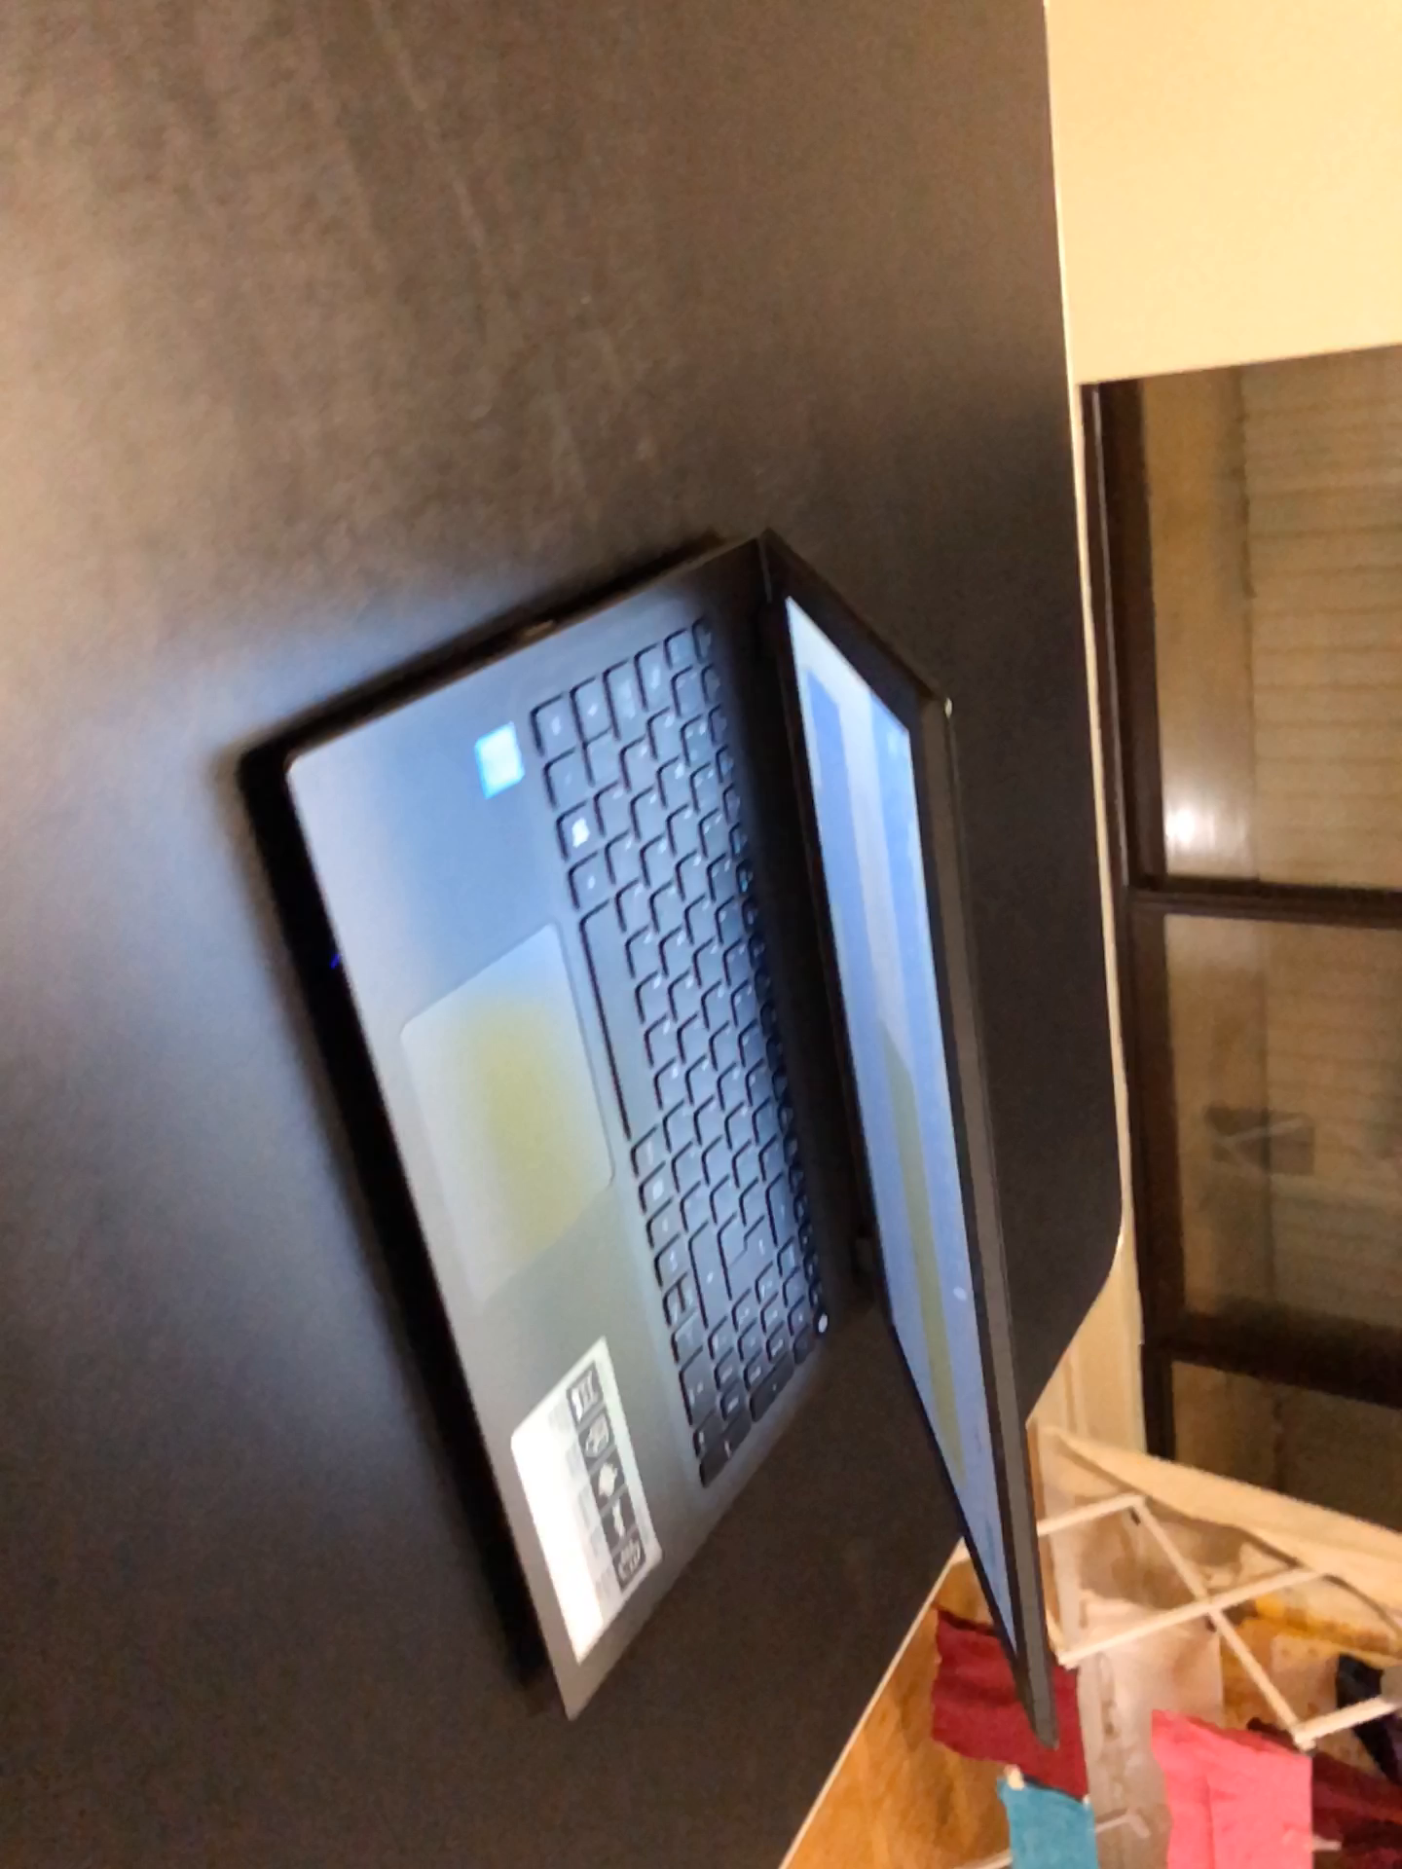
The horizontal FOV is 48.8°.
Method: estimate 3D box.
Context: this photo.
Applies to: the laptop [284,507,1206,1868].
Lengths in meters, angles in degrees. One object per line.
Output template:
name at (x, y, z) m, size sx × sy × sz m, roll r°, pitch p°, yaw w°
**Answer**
laptop at (0.053, 0.074, 0.536) m, size 0.252 × 0.155 × 0.369 m, roll -40°, pitch 127°, yaw -47°
